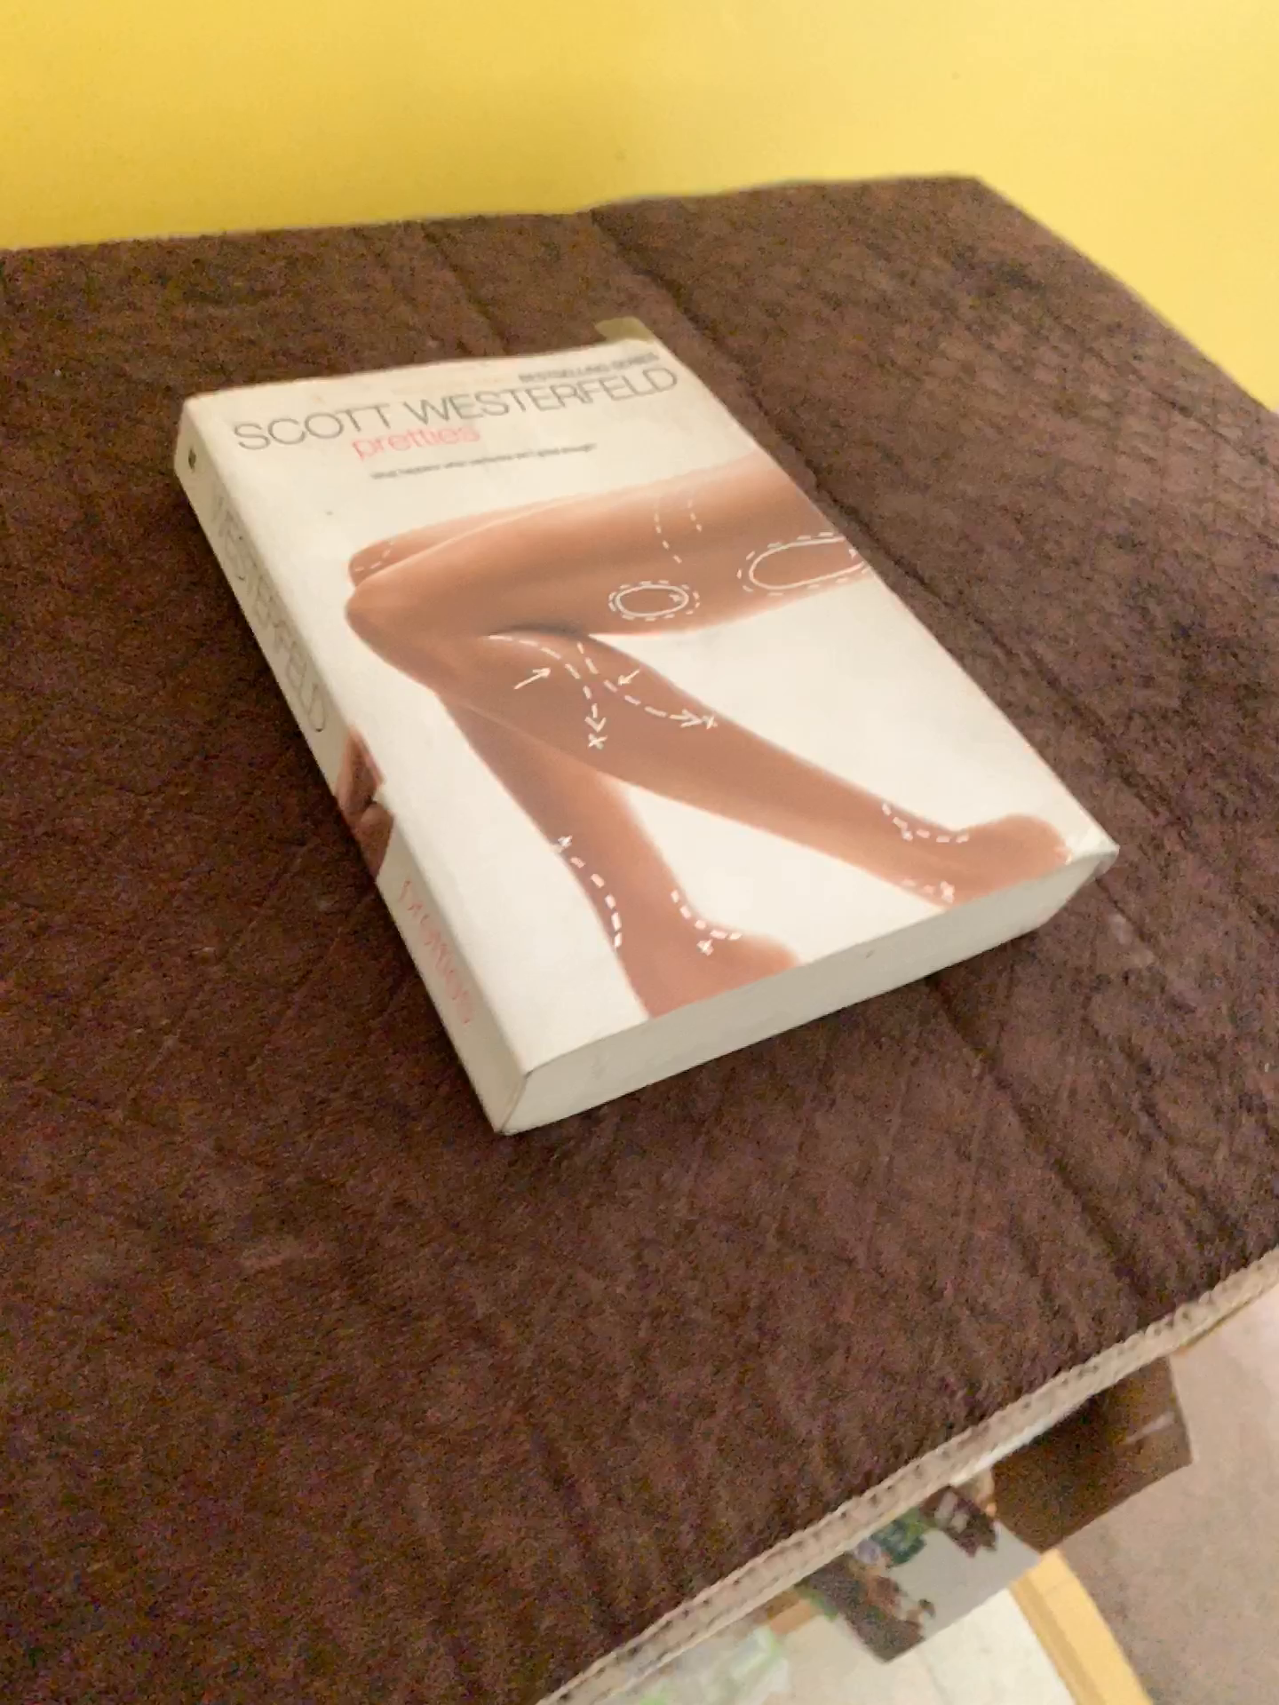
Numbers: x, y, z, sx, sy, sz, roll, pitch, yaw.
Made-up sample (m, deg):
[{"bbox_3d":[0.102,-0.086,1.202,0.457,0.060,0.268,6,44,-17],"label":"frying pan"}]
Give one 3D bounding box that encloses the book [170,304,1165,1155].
[{"bbox_3d":[-0.005,-0.054,0.324,0.151,0.030,0.221,-17,56,-24],"label":"book"}]
